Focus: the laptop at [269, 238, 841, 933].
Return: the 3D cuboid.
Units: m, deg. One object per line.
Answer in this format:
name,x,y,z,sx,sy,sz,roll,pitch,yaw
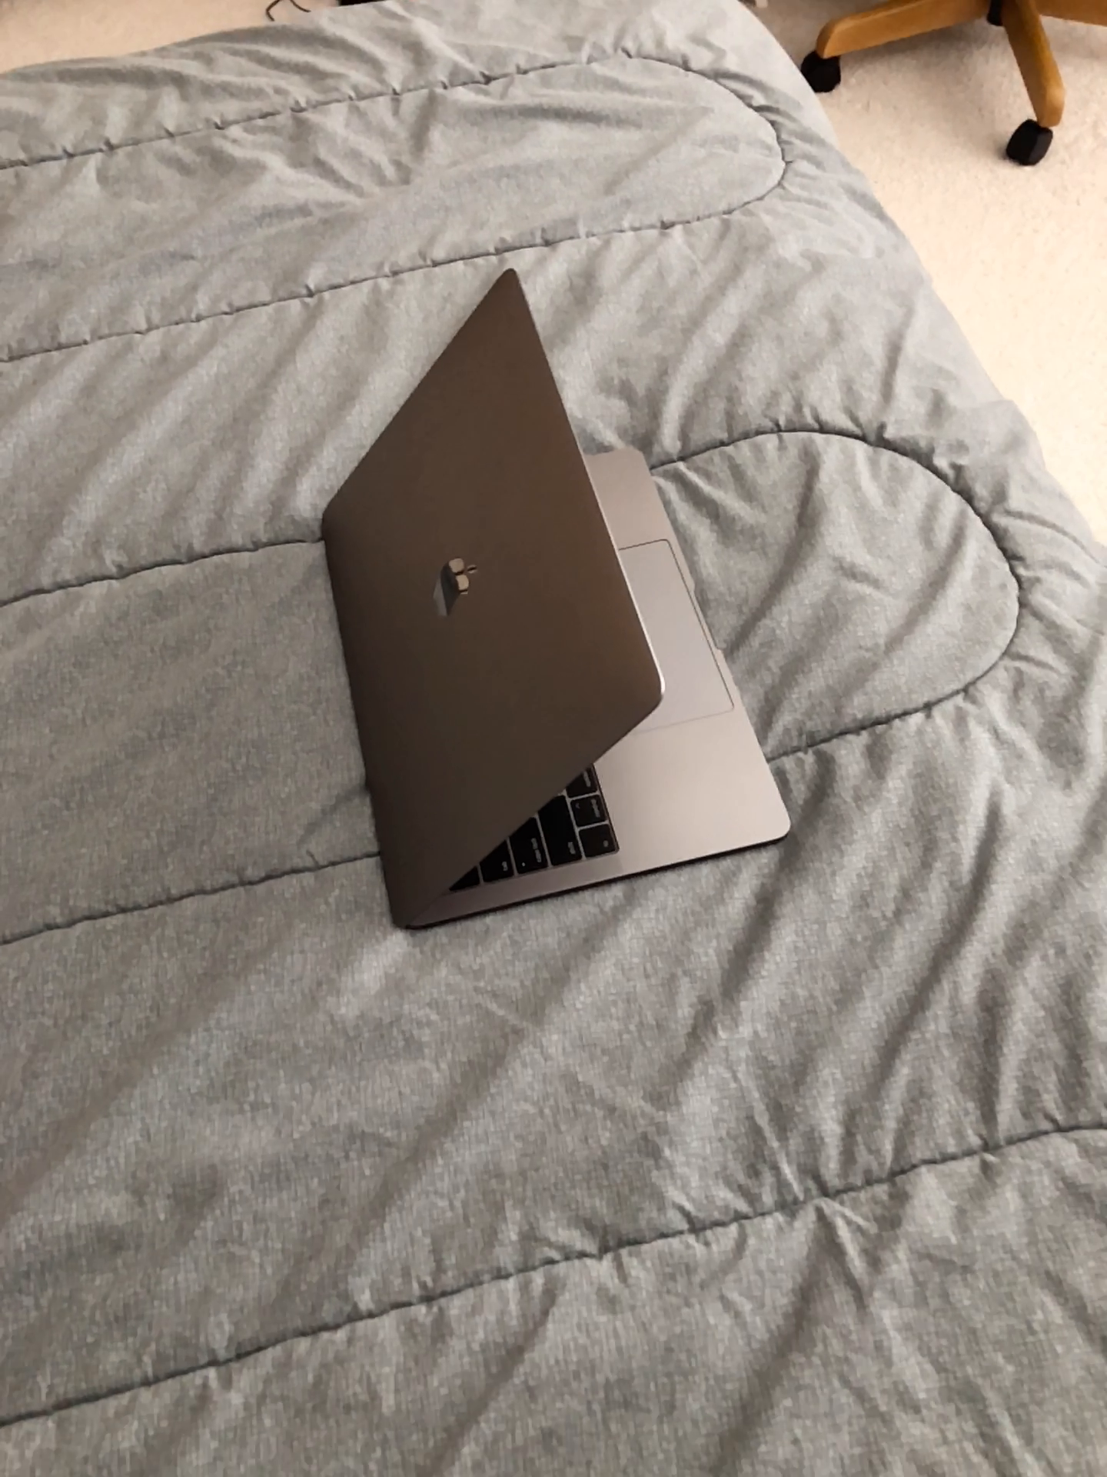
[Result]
laptop,-0.013,-0.082,0.603,0.195,0.140,0.279,-13,58,-5
